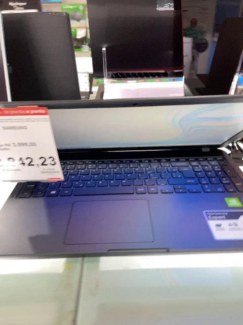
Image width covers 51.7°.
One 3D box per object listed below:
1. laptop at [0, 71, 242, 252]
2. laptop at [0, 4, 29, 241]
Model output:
[{"bbox_3d":[0.014,-0.026,0.350,0.365,0.146,0.232,-2,29,0],"label":"laptop"},{"bbox_3d":[-0.409,-0.096,0.399,0.368,0.240,0.333,-2,30,1],"label":"laptop"}]
